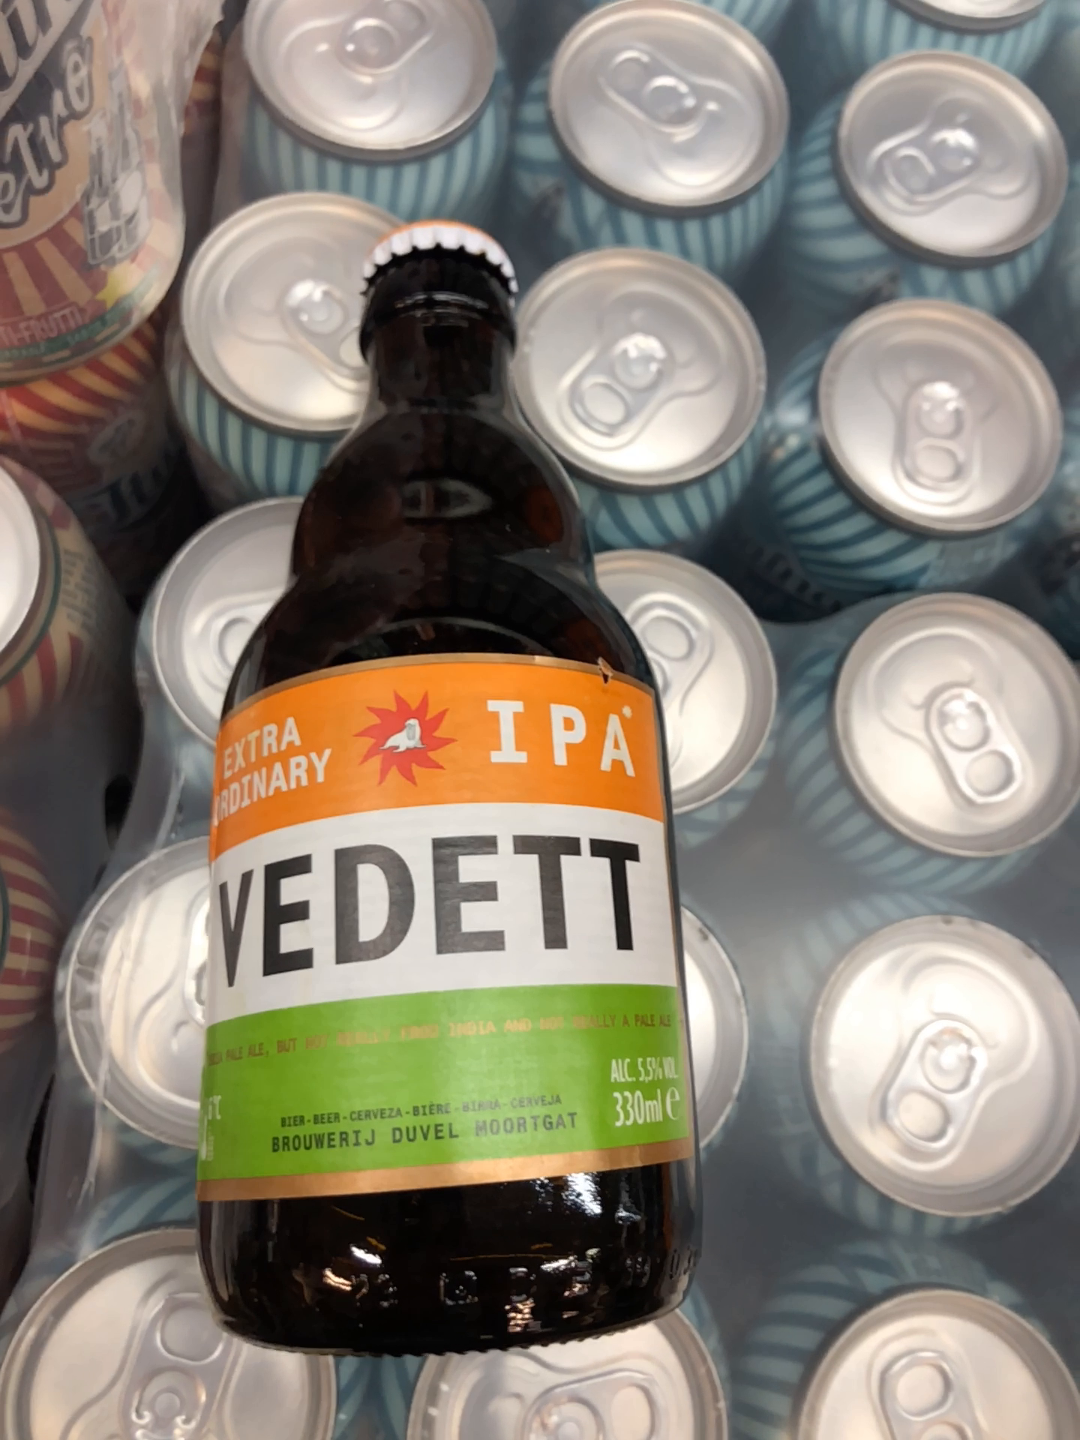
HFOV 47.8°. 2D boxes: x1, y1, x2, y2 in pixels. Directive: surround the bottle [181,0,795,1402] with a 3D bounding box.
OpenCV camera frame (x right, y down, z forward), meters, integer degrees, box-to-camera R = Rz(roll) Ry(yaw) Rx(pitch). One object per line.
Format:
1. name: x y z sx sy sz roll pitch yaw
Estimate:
1. bottle: -0.013 -0.010 0.191 0.070 0.060 0.190 -1 75 -8
